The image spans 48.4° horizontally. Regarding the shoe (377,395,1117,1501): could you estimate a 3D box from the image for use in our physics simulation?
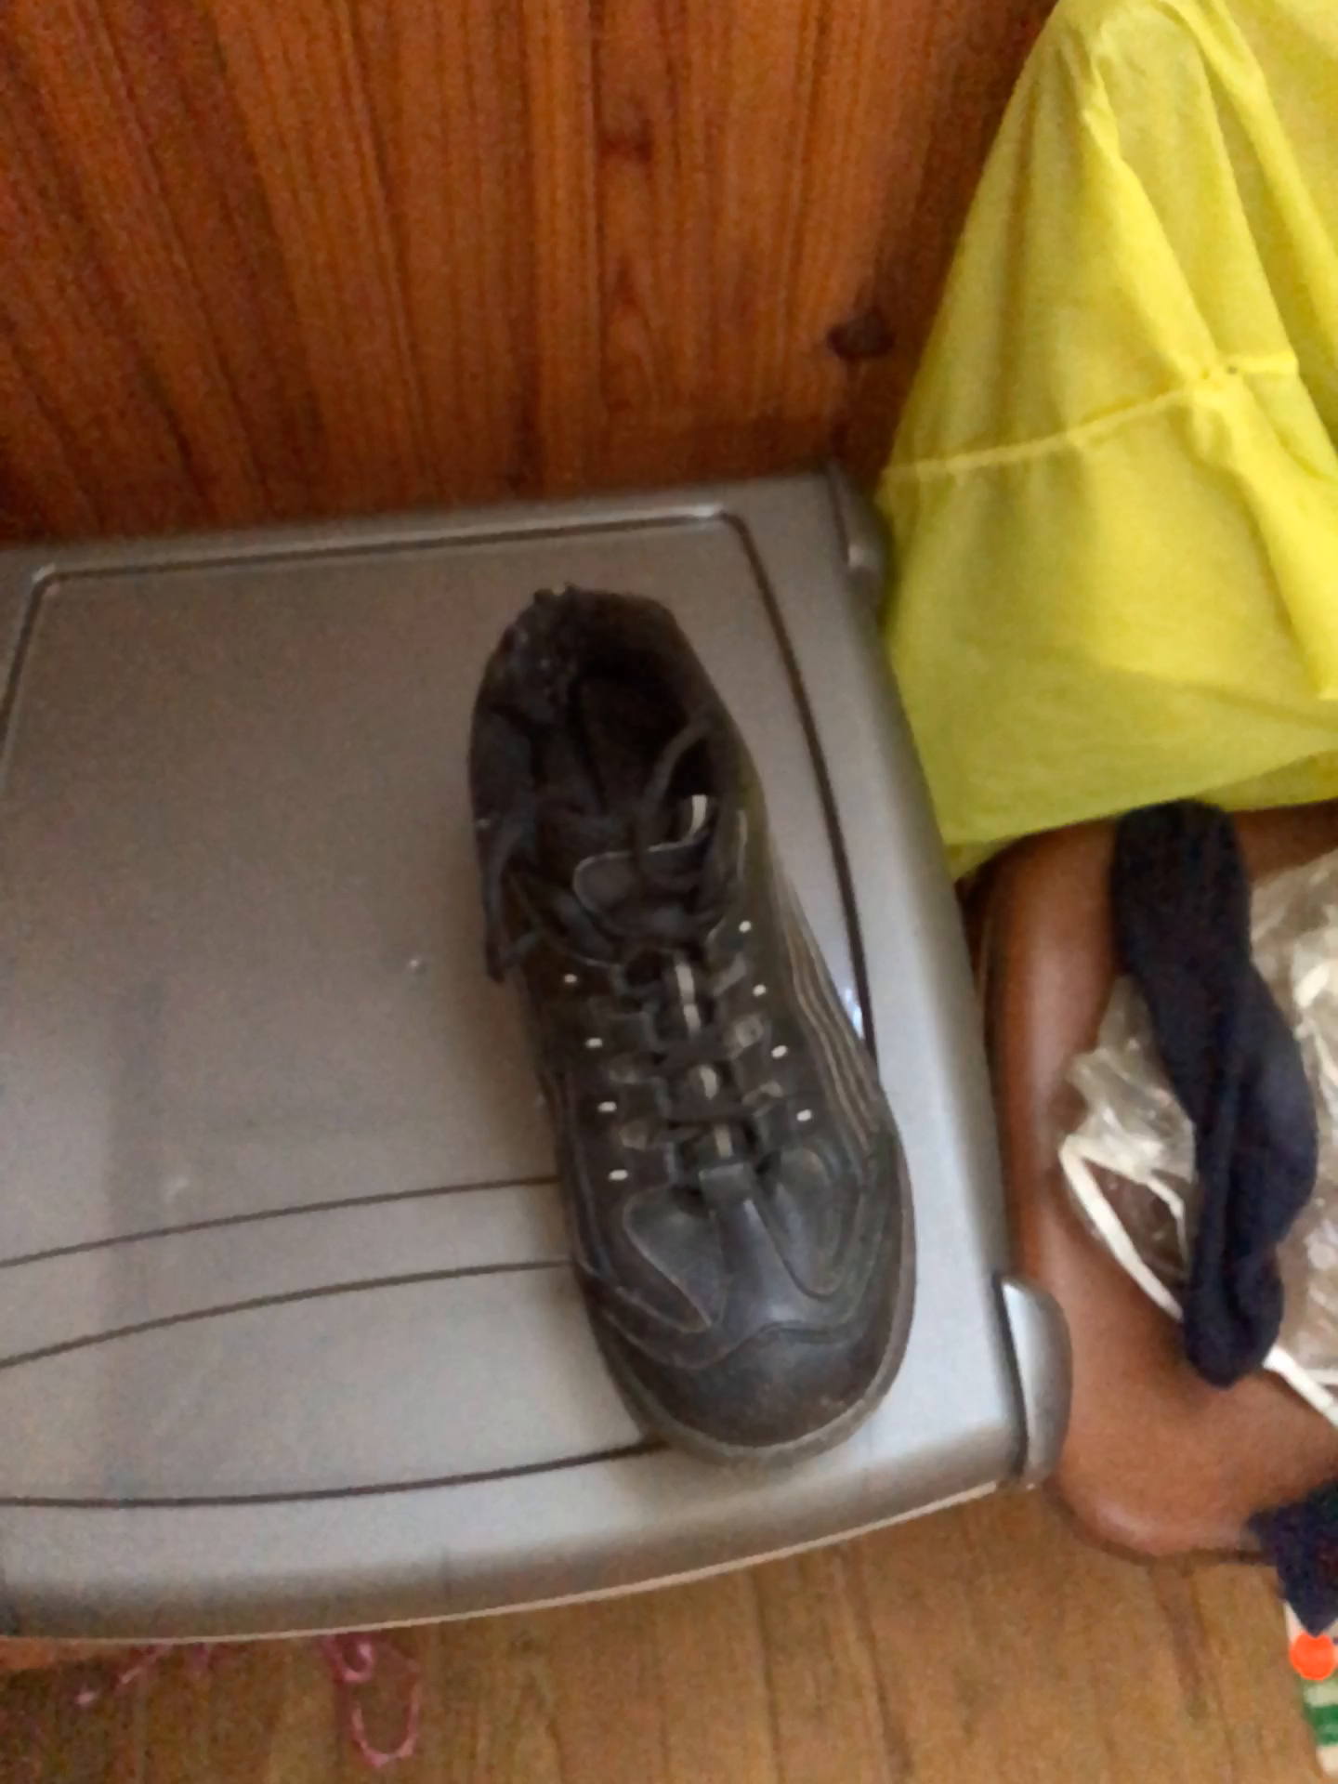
[{"bbox_3d":[0.007,0.015,0.428,0.110,0.130,0.271,-14,66,-7],"label":"shoe"}]
